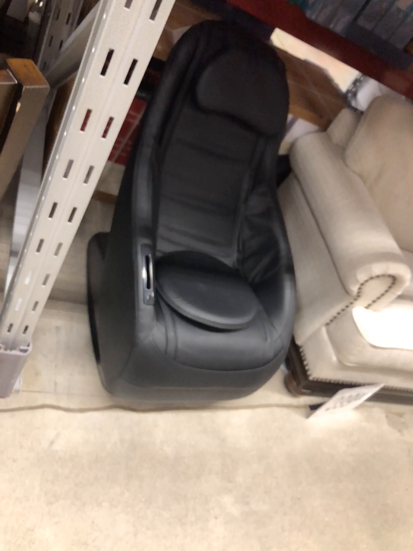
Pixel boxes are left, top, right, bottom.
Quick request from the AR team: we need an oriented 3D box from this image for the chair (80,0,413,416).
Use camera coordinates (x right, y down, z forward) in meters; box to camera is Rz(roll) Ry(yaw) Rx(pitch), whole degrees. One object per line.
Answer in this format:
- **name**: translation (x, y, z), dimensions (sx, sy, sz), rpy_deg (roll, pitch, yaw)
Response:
- **chair**: translation (0.110, -0.126, 1.323), dimensions (0.652, 0.847, 0.700), rpy_deg (8, 47, -31)
